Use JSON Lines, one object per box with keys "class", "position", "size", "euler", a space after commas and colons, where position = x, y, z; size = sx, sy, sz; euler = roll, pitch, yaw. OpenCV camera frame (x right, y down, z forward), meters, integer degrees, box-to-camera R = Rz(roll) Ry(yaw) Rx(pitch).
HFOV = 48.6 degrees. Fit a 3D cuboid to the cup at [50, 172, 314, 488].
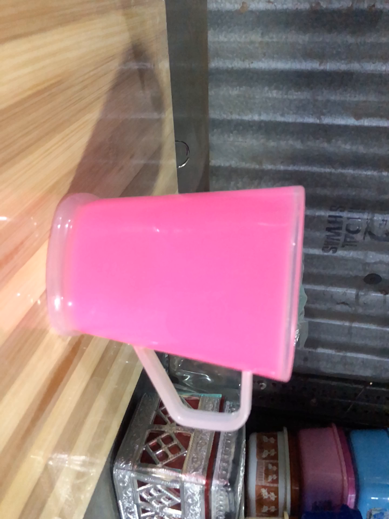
{"class": "cup", "position": [-0.004, 0.023, 0.204], "size": [0.070, 0.100, 0.120], "euler": [-45, 139, -76]}
